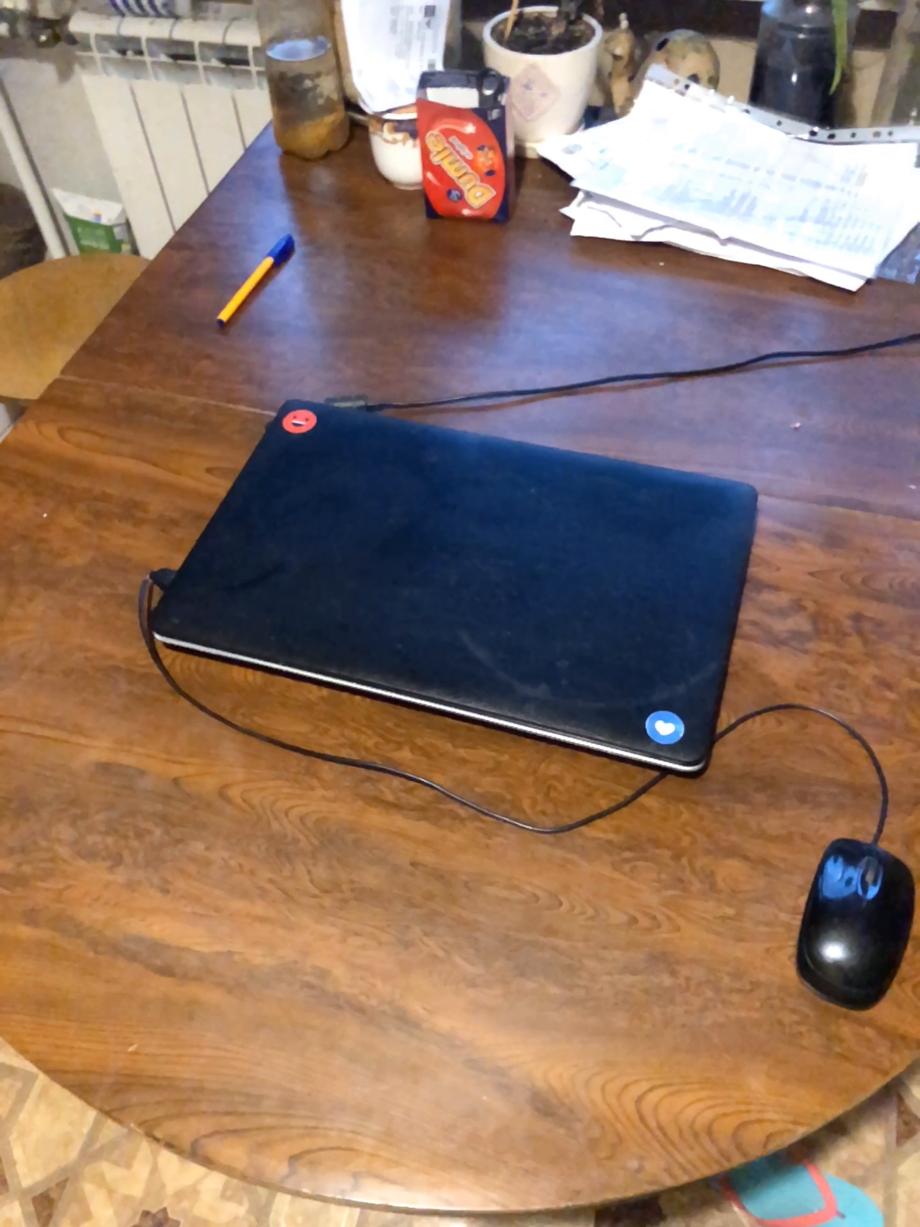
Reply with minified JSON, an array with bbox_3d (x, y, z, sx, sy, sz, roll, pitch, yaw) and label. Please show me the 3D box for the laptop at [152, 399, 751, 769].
[{"bbox_3d":[0.004,-0.039,0.717,0.366,0.007,0.239,13,55,11],"label":"laptop"}]
